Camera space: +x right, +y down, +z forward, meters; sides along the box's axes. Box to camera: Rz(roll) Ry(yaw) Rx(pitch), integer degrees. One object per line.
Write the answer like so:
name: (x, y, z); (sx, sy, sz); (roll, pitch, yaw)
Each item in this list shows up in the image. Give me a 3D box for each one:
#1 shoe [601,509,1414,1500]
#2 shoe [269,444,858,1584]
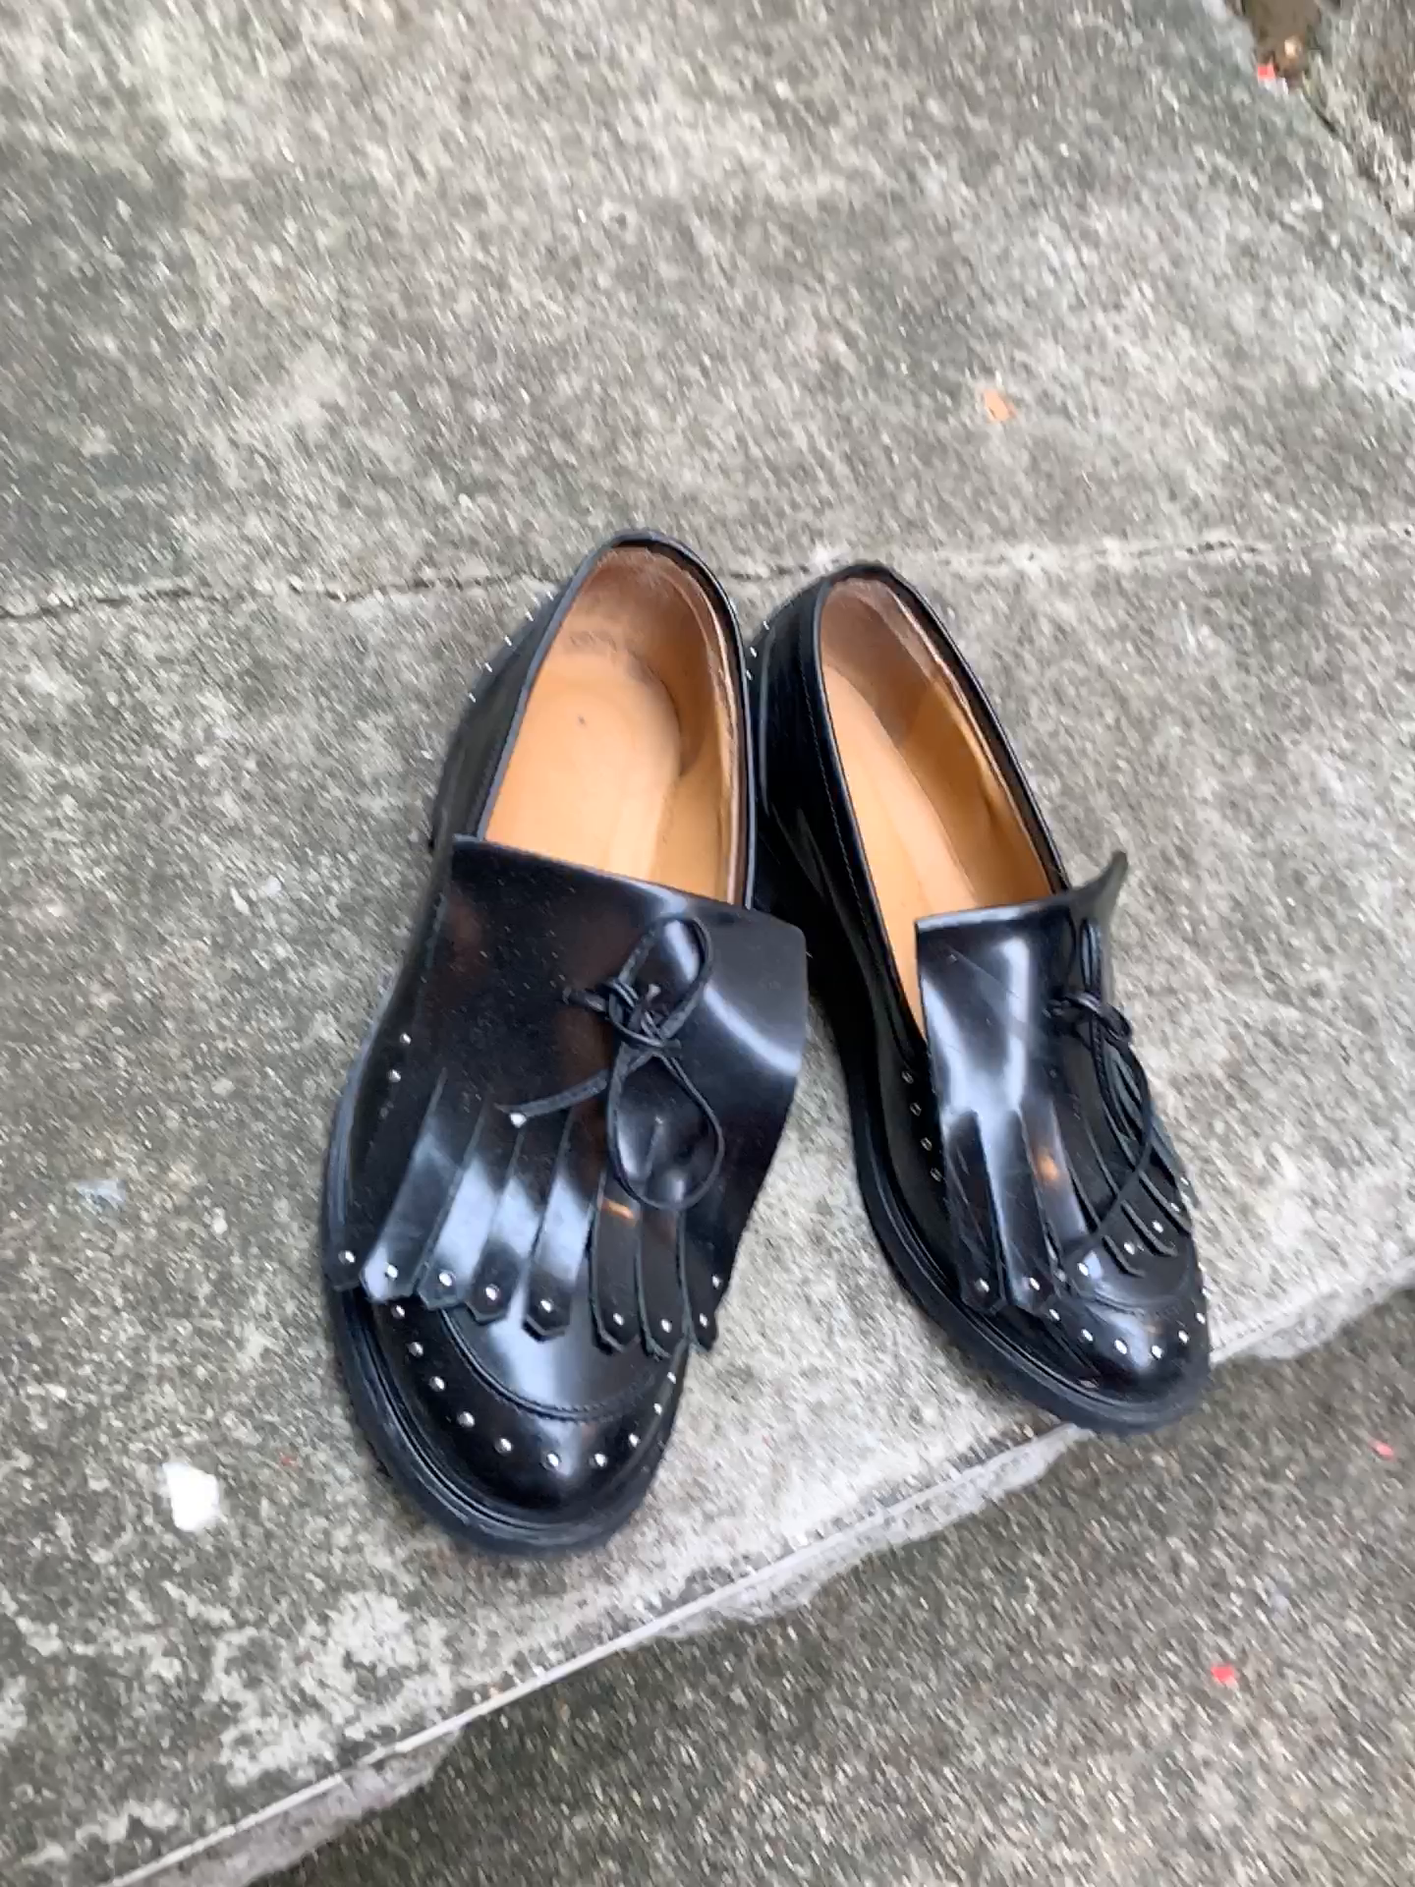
shoe: (0.073, 0.005, 0.398); (0.094, 0.080, 0.248); (-14, 68, -33)
shoe: (-0.031, 0.010, 0.341); (0.094, 0.080, 0.247); (11, 57, -18)
